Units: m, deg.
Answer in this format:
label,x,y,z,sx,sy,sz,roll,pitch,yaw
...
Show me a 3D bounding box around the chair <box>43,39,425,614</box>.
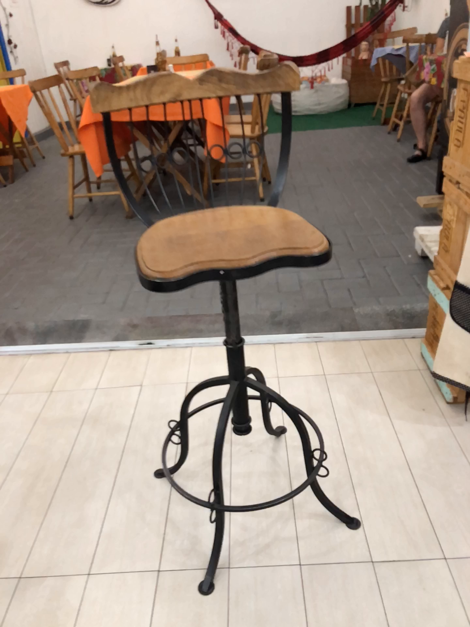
label,x,y,z,sx,sy,sz,roll,pitch,yaw
chair,-0.017,0.002,1.002,0.460,0.894,0.473,-12,28,-13
